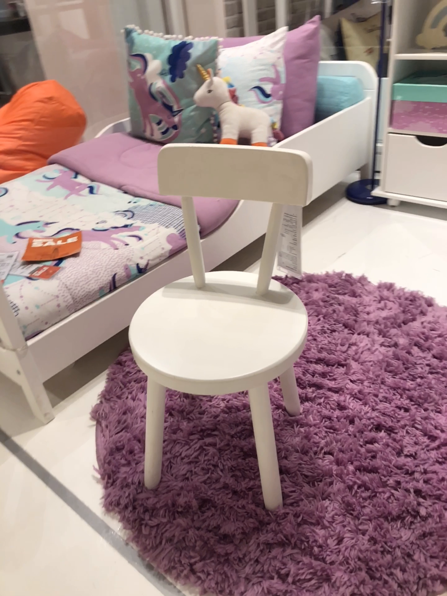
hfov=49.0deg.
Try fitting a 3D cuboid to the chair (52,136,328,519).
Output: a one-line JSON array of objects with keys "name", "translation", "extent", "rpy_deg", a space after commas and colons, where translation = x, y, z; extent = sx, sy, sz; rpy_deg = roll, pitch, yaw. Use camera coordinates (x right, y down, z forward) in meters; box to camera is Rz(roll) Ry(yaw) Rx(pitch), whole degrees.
[{"name": "chair", "translation": [0.000, 0.049, 0.878], "extent": [0.320, 0.575, 0.312], "rpy_deg": [5, 35, 18]}]
